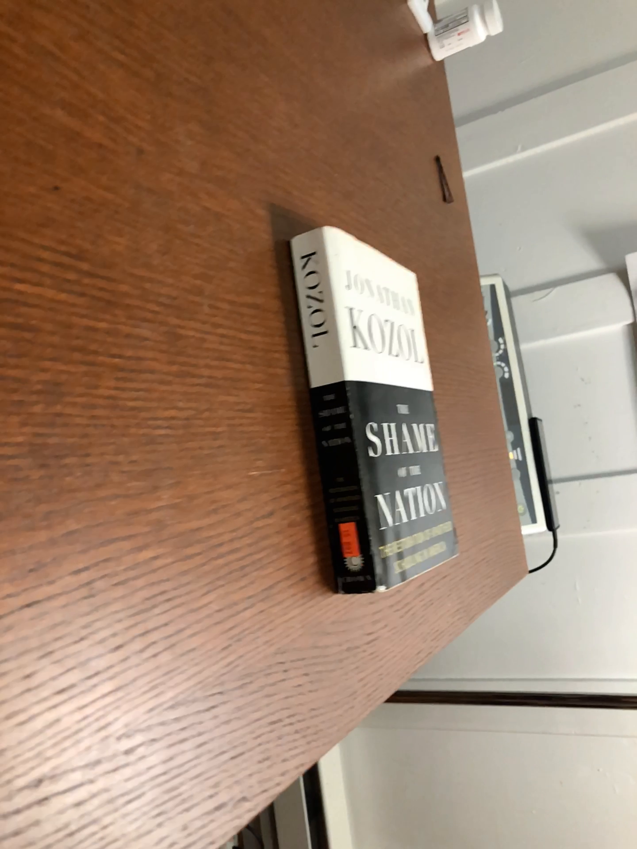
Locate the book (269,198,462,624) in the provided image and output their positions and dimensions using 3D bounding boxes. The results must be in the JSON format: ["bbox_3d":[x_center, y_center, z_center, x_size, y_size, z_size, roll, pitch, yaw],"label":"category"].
[{"bbox_3d":[0.037,-0.007,0.453,0.161,0.030,0.230,4,77,-62],"label":"book"}]
